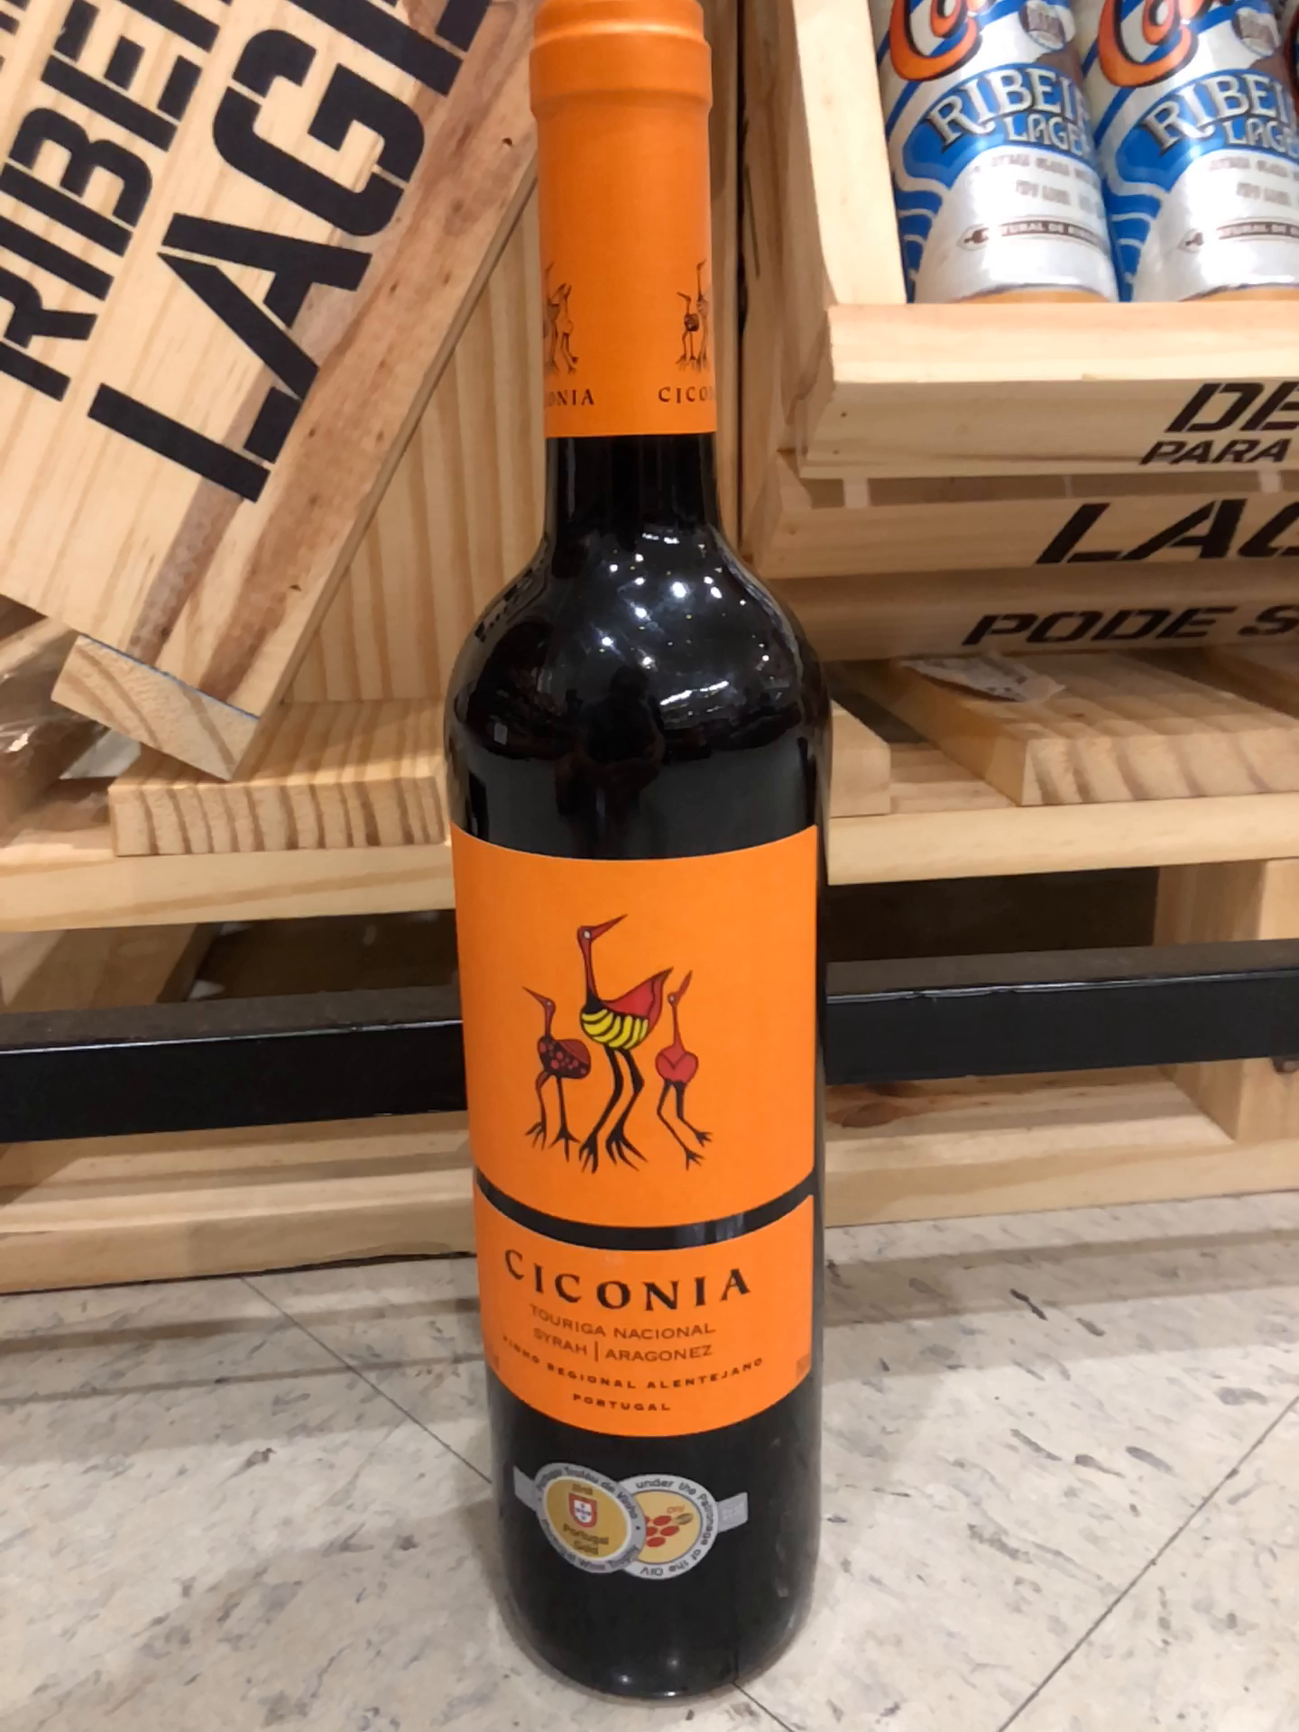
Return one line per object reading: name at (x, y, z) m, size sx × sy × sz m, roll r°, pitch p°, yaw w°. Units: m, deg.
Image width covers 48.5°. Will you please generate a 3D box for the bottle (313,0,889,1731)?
bottle at (0.000, 0.008, 0.278) m, size 0.080 × 0.318 × 0.070 m, roll 2°, pitch 18°, yaw 9°
